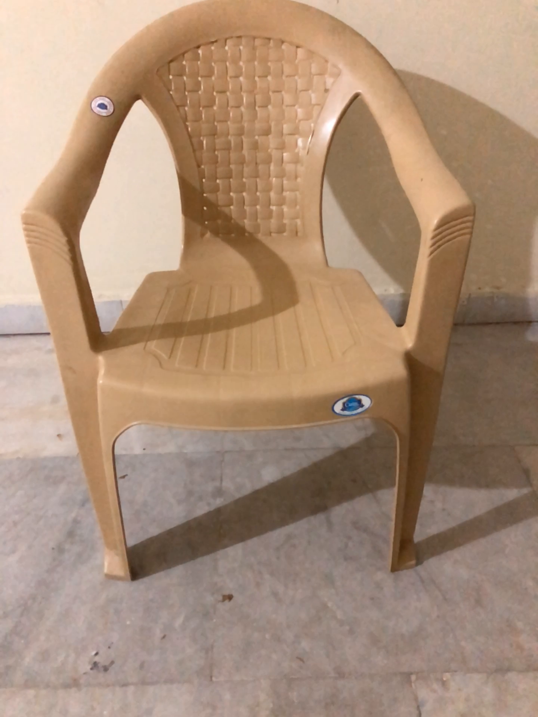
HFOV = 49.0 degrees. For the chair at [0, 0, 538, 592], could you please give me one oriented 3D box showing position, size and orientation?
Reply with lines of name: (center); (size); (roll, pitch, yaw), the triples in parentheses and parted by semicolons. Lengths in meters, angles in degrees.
chair: (-0.028, -0.134, 0.942); (0.590, 0.745, 0.604); (-2, 36, -3)
